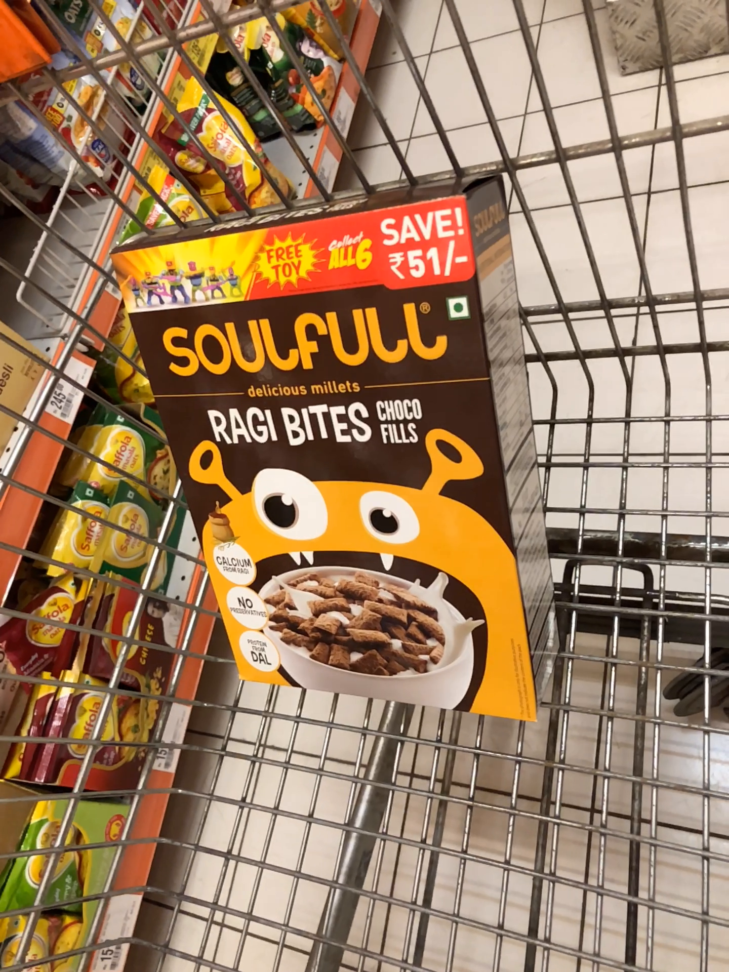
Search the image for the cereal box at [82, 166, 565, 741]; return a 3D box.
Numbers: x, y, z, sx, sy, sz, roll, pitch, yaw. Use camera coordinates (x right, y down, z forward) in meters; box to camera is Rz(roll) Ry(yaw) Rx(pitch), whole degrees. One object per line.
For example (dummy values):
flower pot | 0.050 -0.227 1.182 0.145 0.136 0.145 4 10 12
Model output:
cereal box | -0.011 -0.009 0.418 0.190 0.259 0.070 1 26 28
